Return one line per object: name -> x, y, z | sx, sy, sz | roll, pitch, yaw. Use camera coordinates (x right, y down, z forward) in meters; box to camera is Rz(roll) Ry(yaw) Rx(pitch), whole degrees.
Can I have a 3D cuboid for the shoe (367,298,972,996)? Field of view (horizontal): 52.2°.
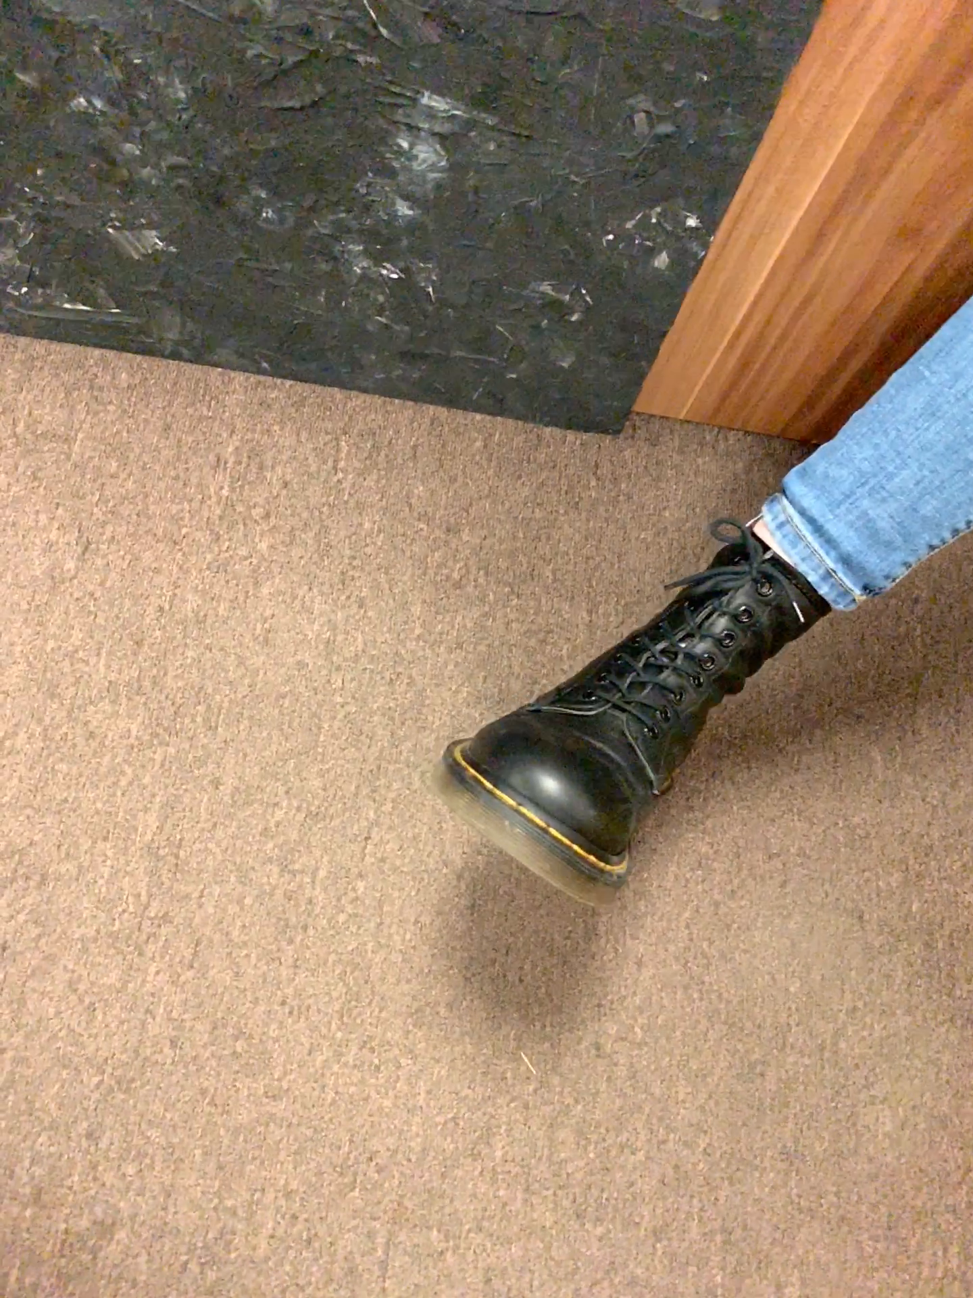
shoe -> 0.103, -0.006, 0.541 | 0.120, 0.370, 0.230 | 41, 98, 6
